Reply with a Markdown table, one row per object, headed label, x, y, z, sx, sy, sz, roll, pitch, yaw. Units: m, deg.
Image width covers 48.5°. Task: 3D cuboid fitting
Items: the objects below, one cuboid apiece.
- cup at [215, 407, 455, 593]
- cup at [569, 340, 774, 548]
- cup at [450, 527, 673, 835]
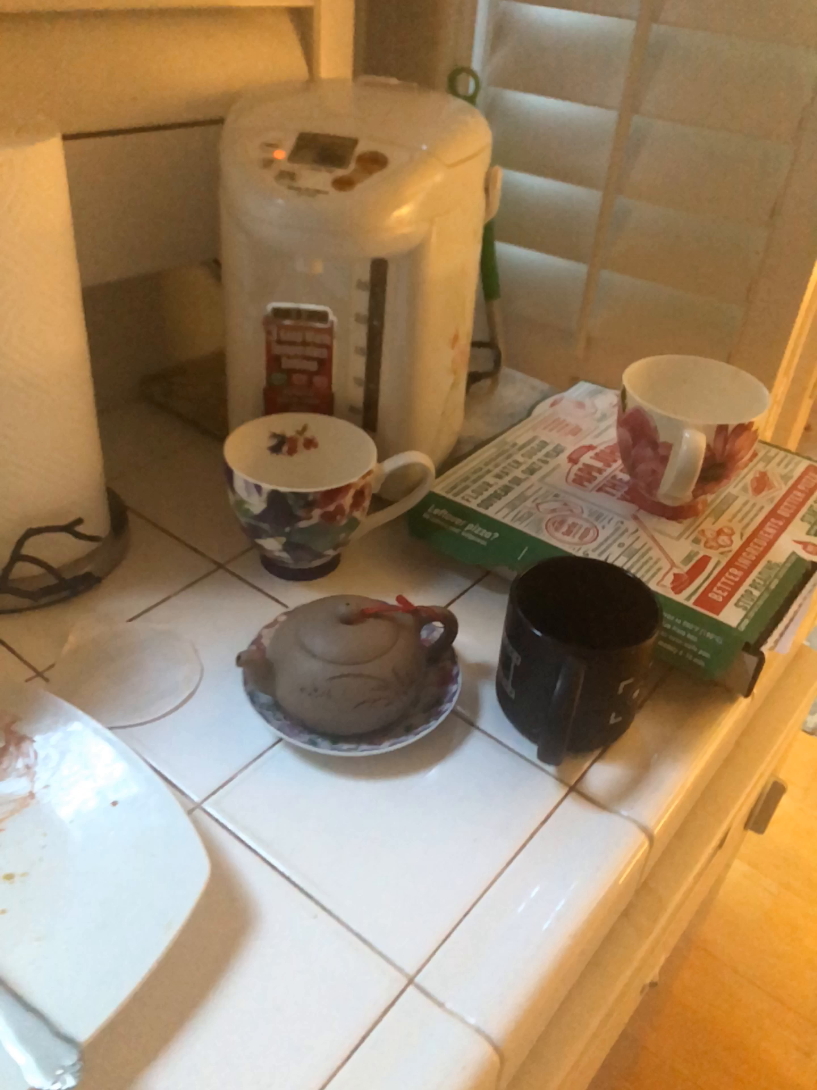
| label | x | y | z | sx | sy | sz | roll | pitch | yaw |
| --- | --- | --- | --- | --- | --- | --- | --- | --- | --- |
| cup | -0.058 | -0.036 | 0.676 | 0.160 | 0.089 | 0.111 | -1 | 36 | -9 |
| cup | 0.198 | -0.081 | 0.675 | 0.110 | 0.069 | 0.151 | 18 | 38 | 16 |
| cup | 0.096 | 0.077 | 0.559 | 0.090 | 0.099 | 0.141 | 16 | 37 | 14 |
